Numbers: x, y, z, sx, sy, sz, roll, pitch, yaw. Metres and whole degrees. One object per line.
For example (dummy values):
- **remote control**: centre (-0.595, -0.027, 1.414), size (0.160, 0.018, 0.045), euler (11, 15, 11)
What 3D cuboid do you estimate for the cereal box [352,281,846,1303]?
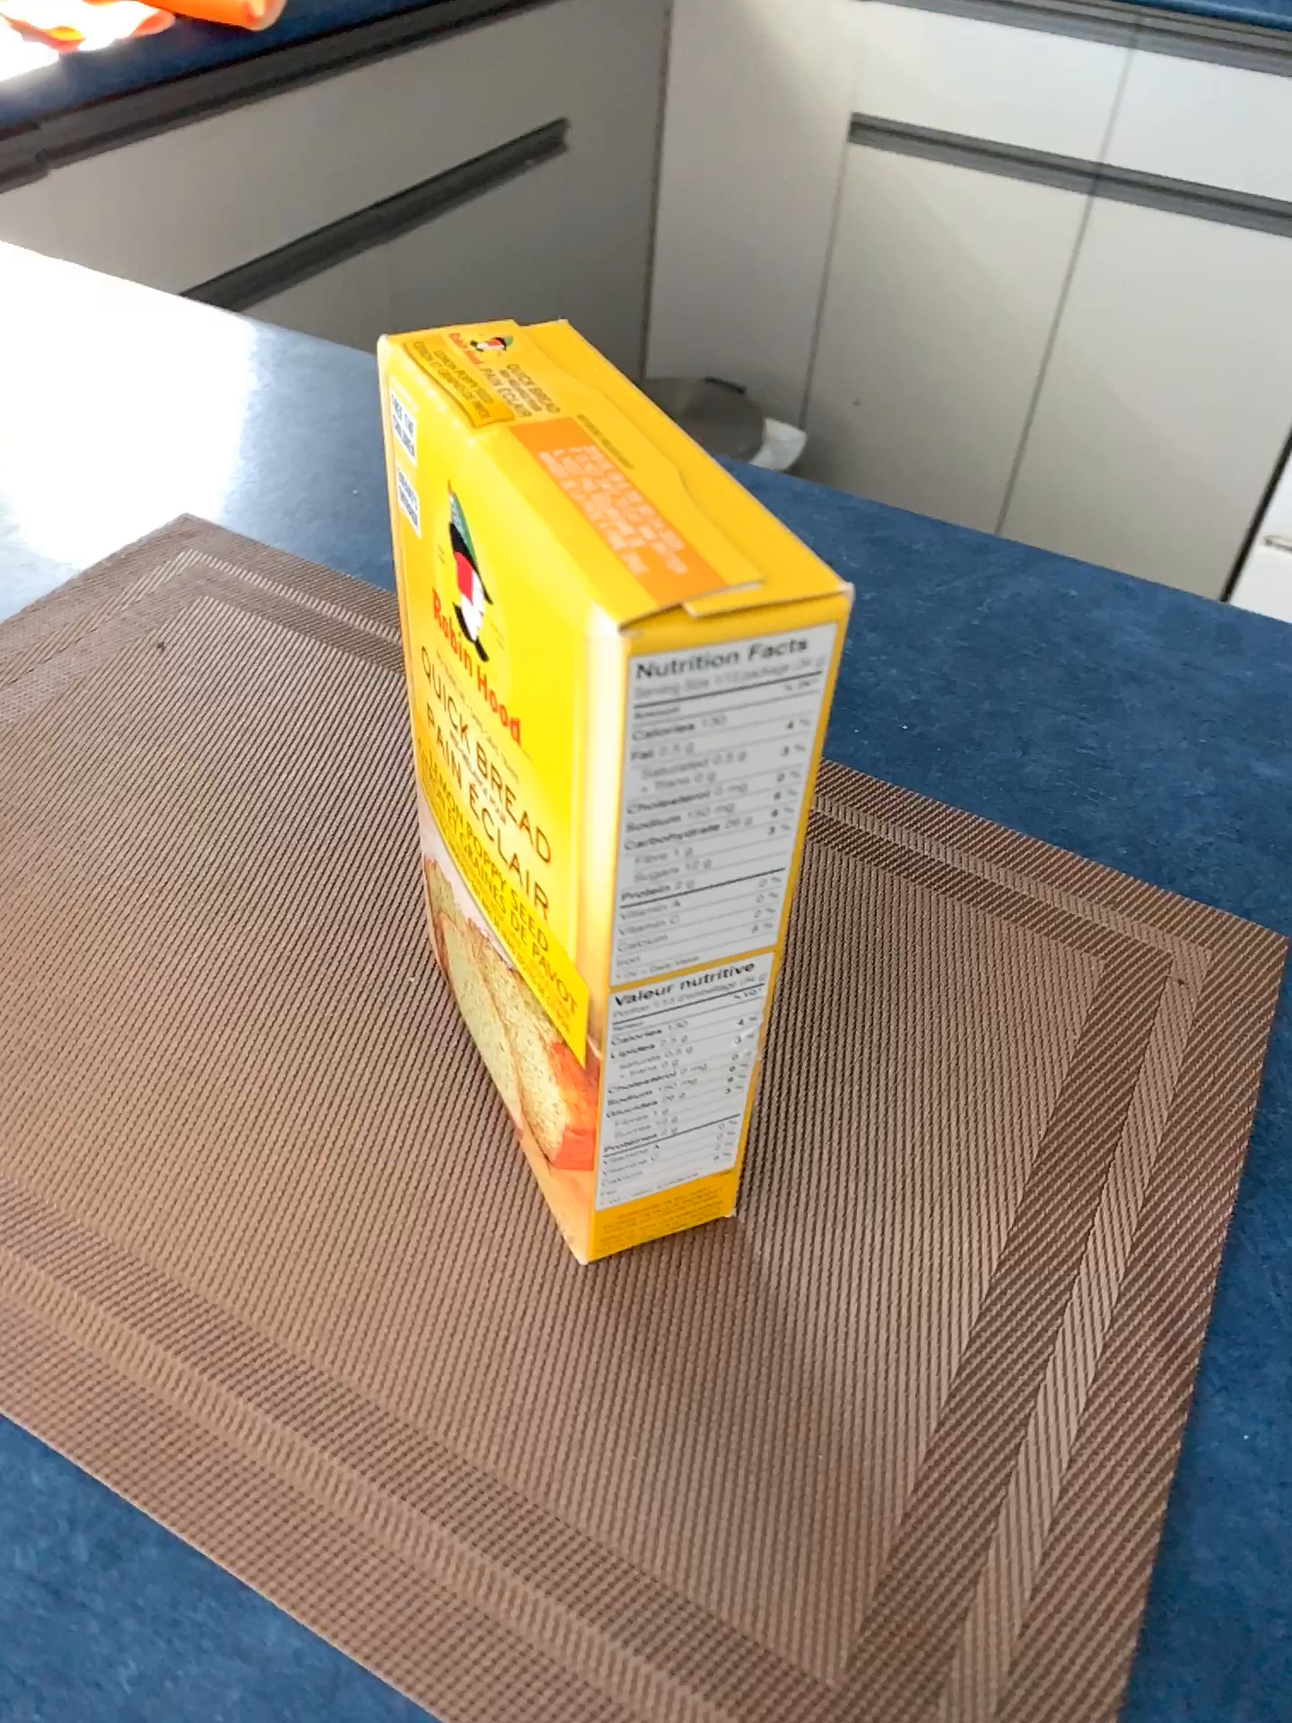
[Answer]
- **cereal box**: centre (-0.021, -0.011, 0.293), size (0.040, 0.178, 0.131), euler (-14, 46, -20)
